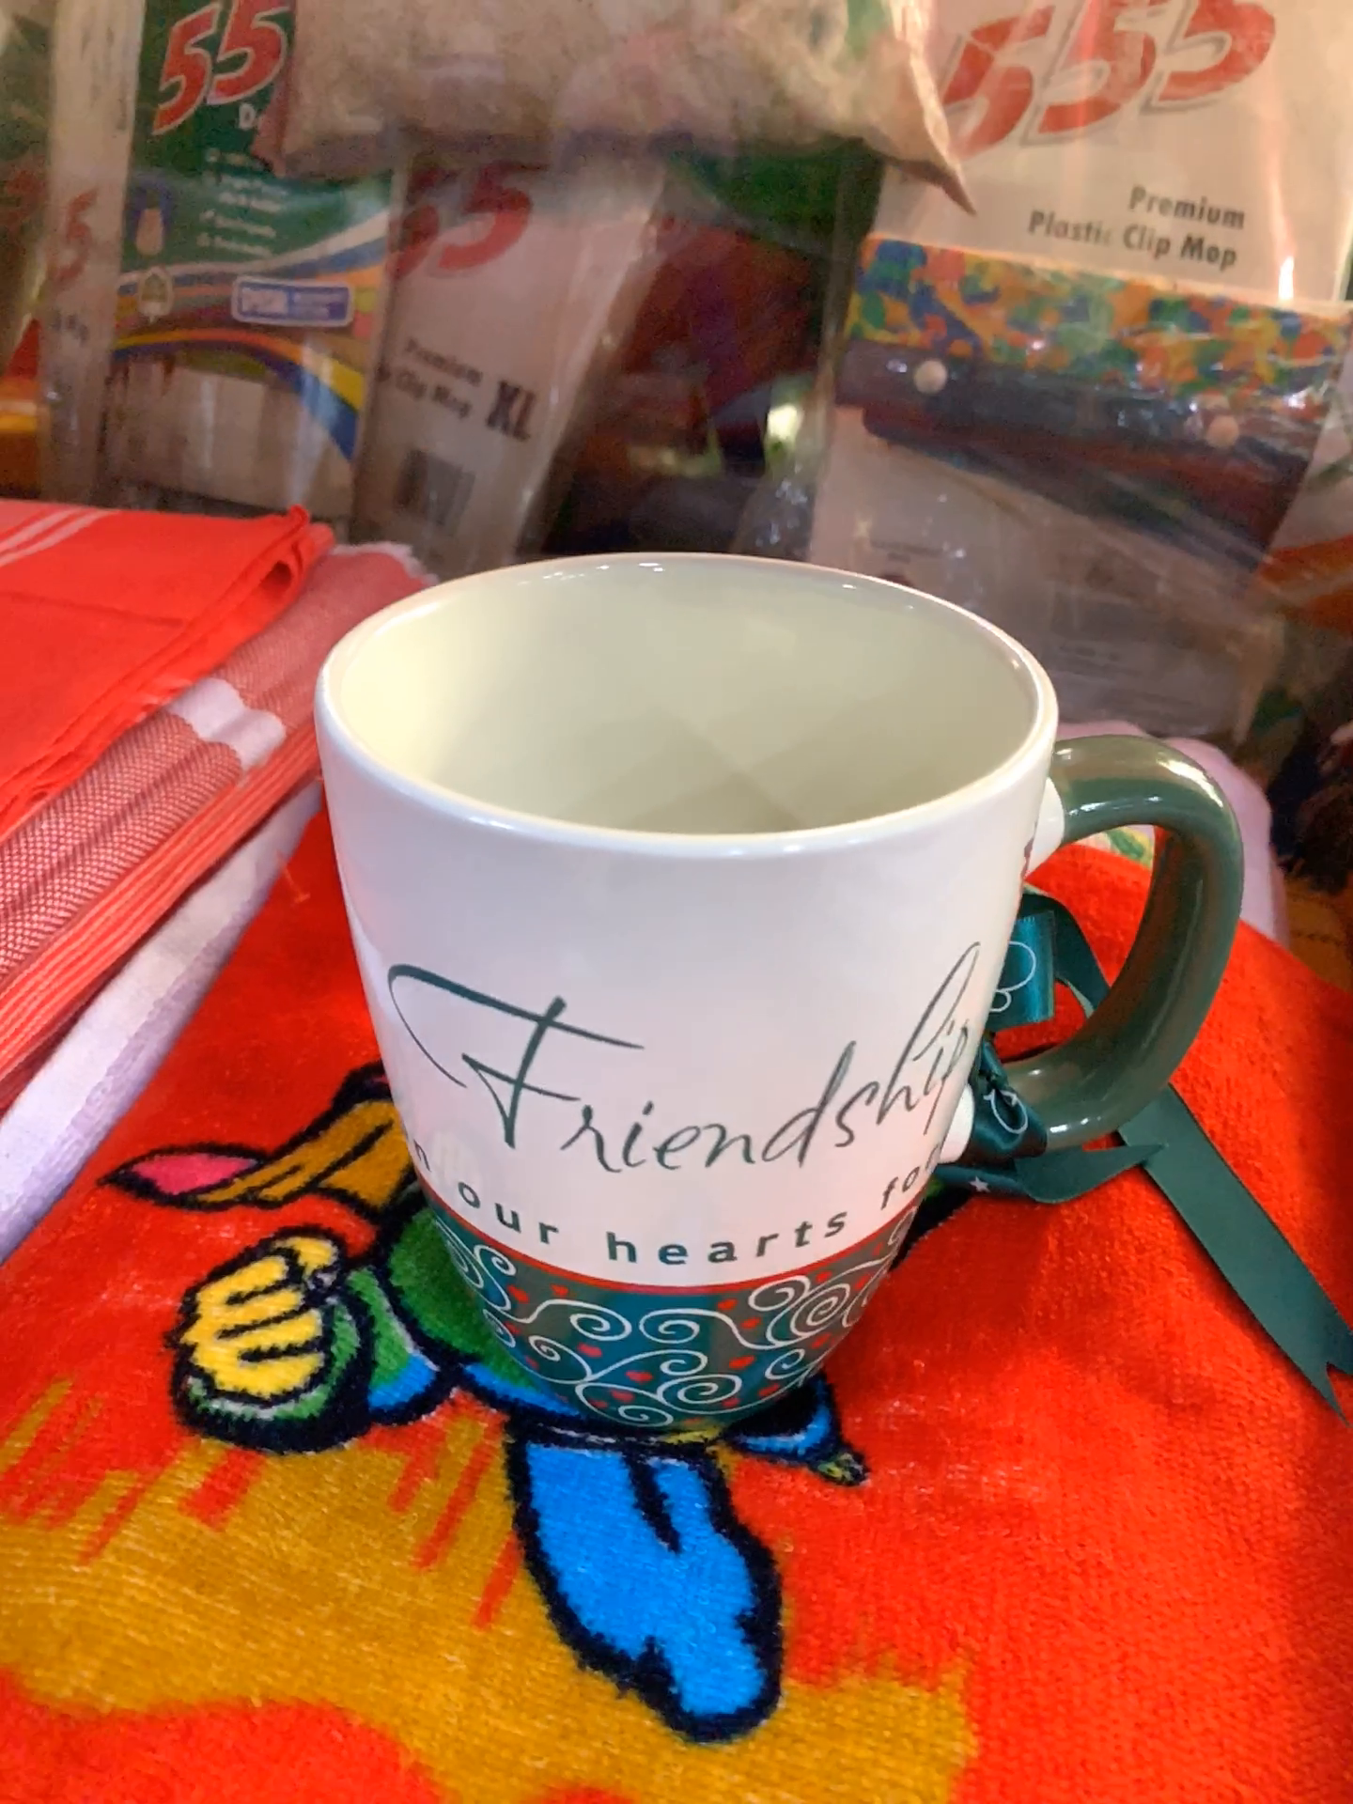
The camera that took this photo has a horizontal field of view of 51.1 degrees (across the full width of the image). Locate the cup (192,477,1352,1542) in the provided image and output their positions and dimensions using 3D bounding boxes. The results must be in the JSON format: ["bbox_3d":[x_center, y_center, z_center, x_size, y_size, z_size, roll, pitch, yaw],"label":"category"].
[{"bbox_3d":[0.010,0.005,0.204,0.132,0.094,0.101,-7,35,-11],"label":"cup"}]
